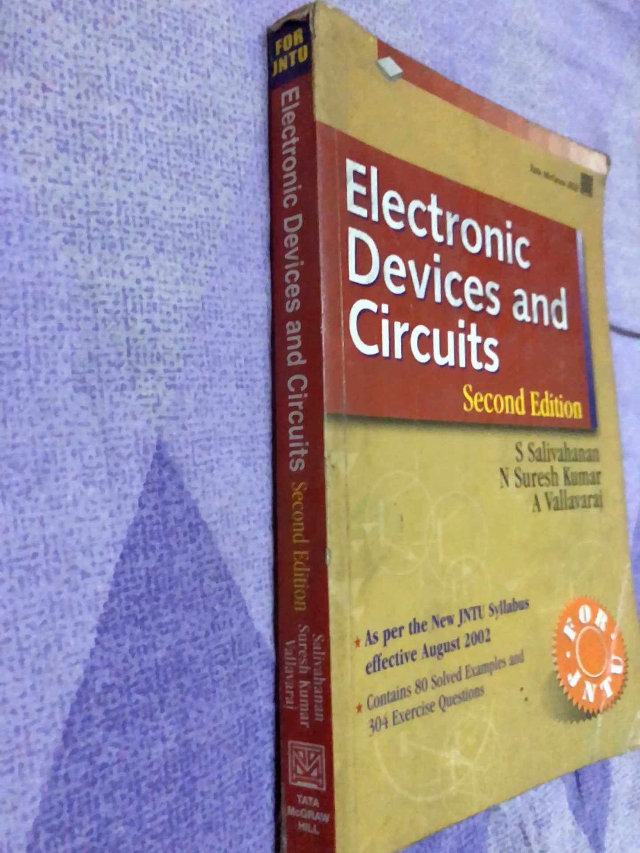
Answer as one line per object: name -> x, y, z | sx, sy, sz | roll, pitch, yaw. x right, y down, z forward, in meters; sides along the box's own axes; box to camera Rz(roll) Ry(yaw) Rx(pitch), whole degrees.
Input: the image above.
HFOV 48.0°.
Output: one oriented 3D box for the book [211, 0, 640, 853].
book -> 0.044, -0.002, 0.246 | 0.161, 0.040, 0.240 | 2, 84, -40
